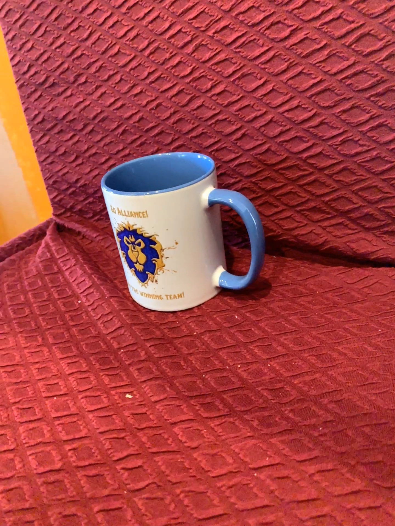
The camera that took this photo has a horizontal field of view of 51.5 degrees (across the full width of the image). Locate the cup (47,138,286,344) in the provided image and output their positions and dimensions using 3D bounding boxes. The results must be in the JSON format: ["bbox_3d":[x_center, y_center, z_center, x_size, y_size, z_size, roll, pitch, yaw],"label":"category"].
[{"bbox_3d":[-0.015,-0.027,0.308,0.130,0.099,0.100,12,37,31],"label":"cup"}]
